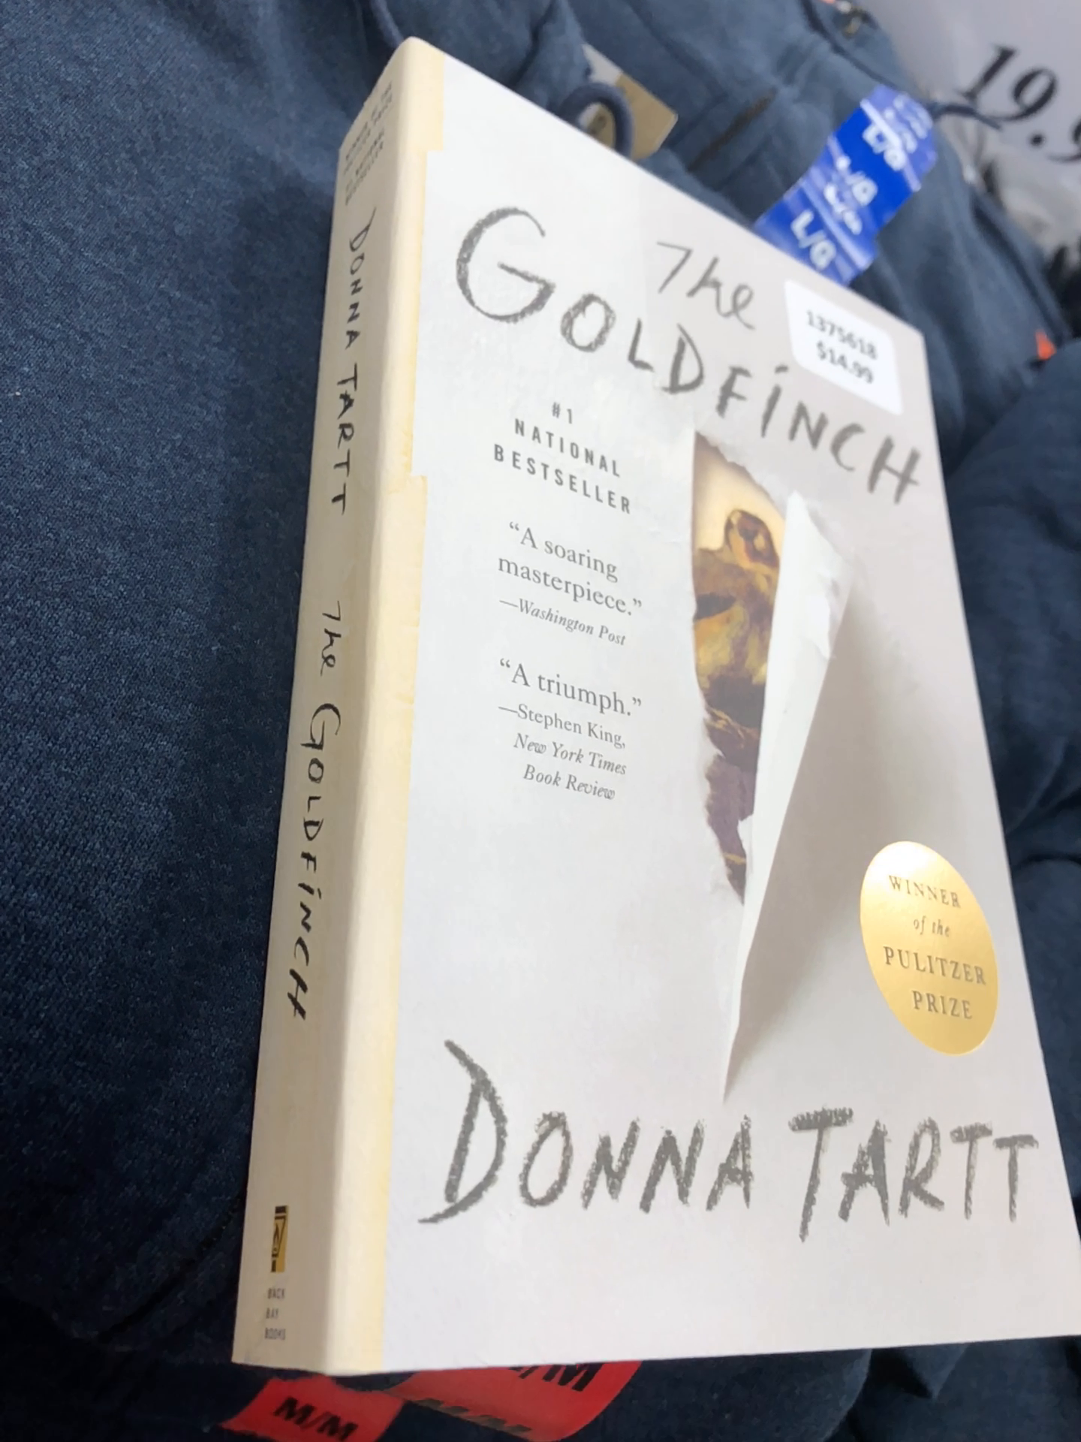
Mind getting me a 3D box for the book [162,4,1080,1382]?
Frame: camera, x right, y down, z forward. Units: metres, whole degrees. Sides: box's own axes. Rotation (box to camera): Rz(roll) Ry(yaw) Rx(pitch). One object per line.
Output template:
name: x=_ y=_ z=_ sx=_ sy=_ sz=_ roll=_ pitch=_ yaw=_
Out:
book: x=0.026 y=-0.005 z=0.233 sx=0.158 sy=0.041 sz=0.222 roll=16 pitch=61 yaw=-32
